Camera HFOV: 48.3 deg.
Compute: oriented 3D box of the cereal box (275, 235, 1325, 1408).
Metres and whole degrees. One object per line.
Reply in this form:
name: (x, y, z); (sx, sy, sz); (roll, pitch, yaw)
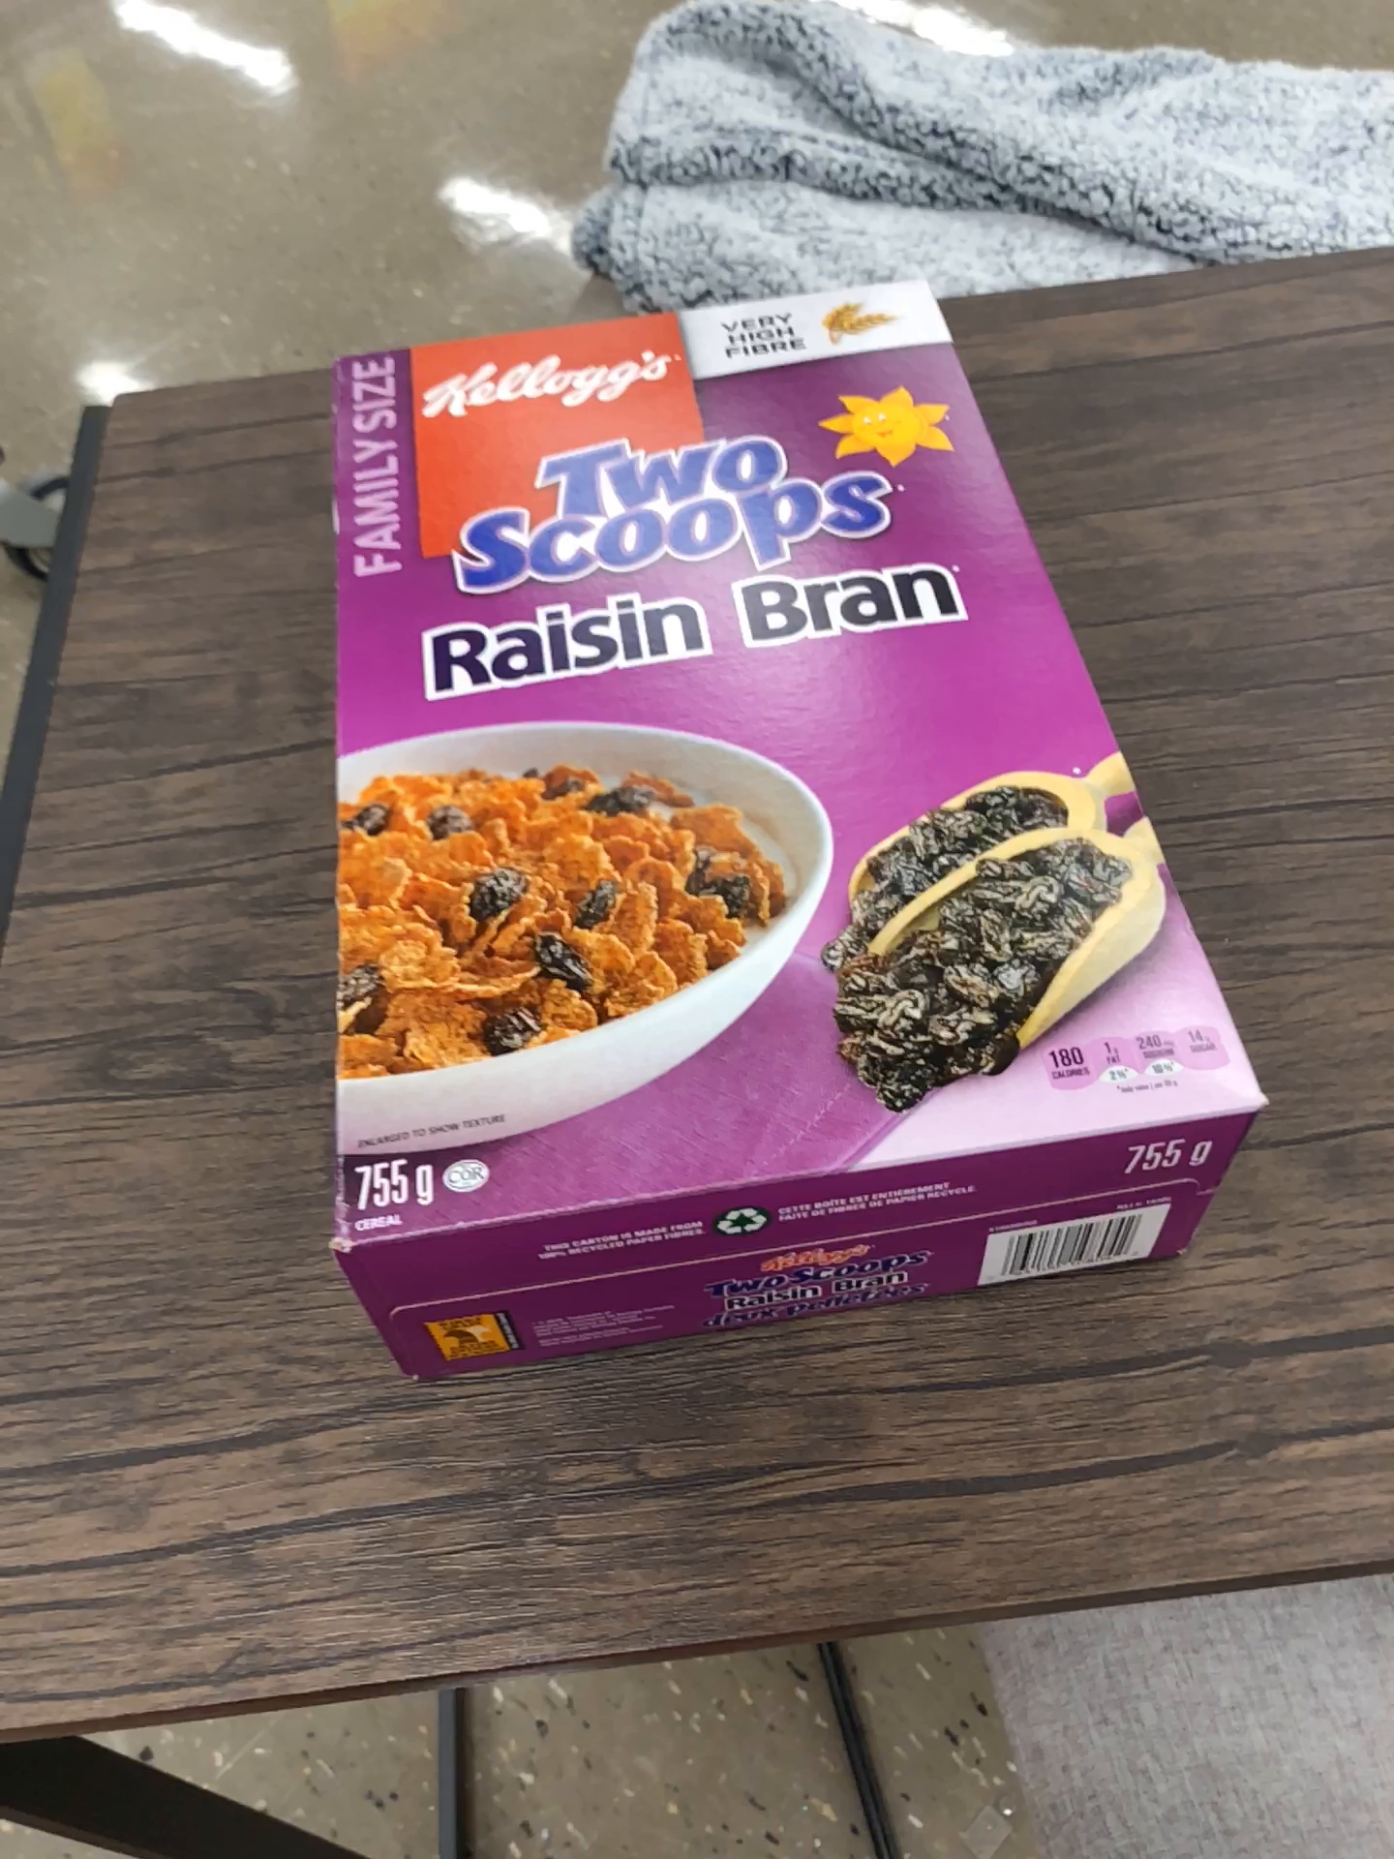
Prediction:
cereal box: (0.001, -0.054, 0.432); (0.210, 0.080, 0.321); (-9, 55, -2)
